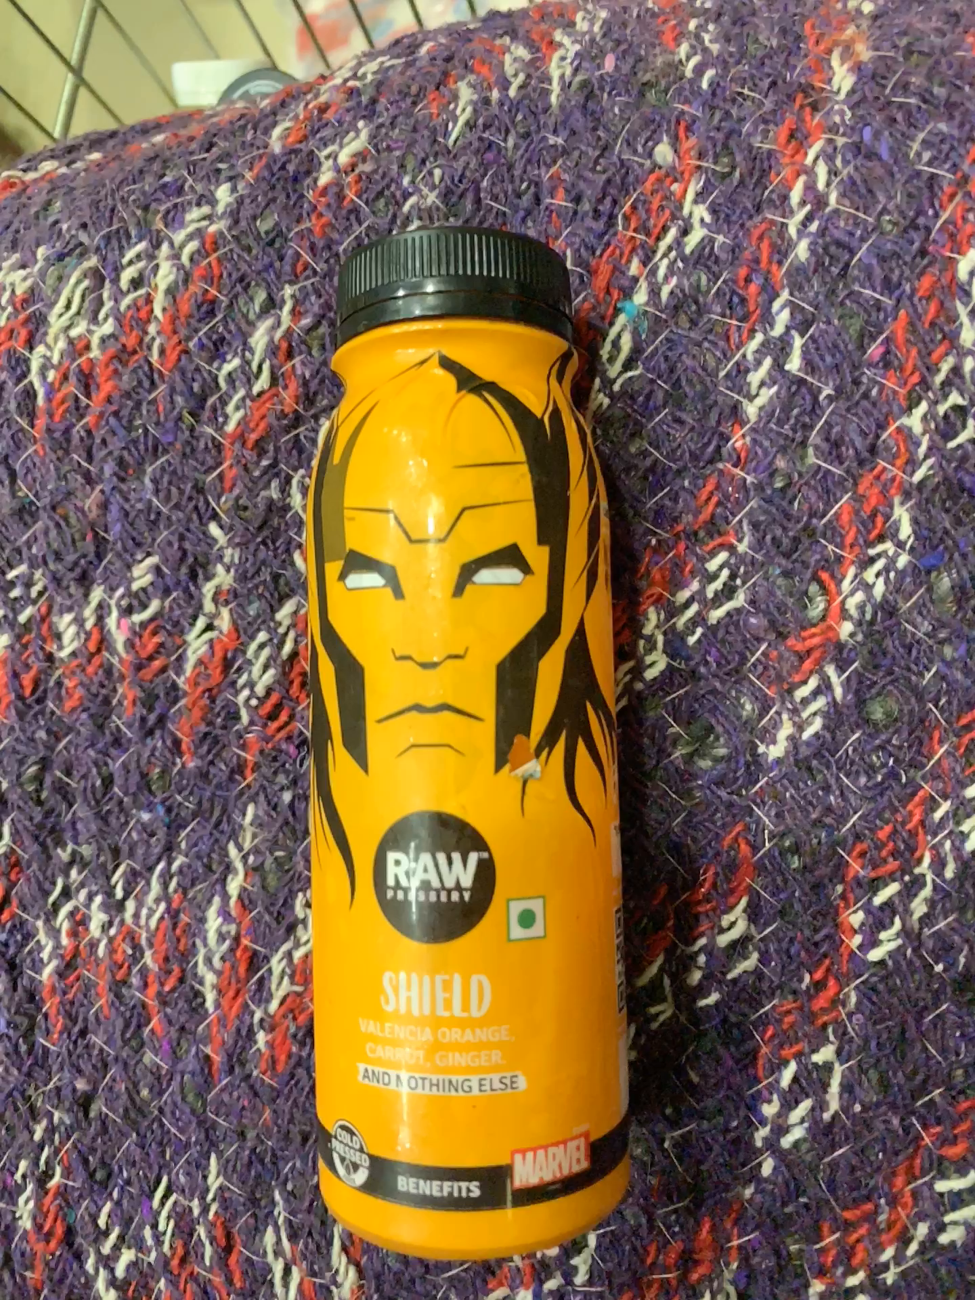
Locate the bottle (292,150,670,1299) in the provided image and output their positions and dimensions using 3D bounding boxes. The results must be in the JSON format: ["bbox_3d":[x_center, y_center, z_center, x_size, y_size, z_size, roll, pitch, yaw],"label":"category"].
[{"bbox_3d":[0.002,0.010,0.173,0.050,0.050,0.160,-1,86,16],"label":"bottle"}]
